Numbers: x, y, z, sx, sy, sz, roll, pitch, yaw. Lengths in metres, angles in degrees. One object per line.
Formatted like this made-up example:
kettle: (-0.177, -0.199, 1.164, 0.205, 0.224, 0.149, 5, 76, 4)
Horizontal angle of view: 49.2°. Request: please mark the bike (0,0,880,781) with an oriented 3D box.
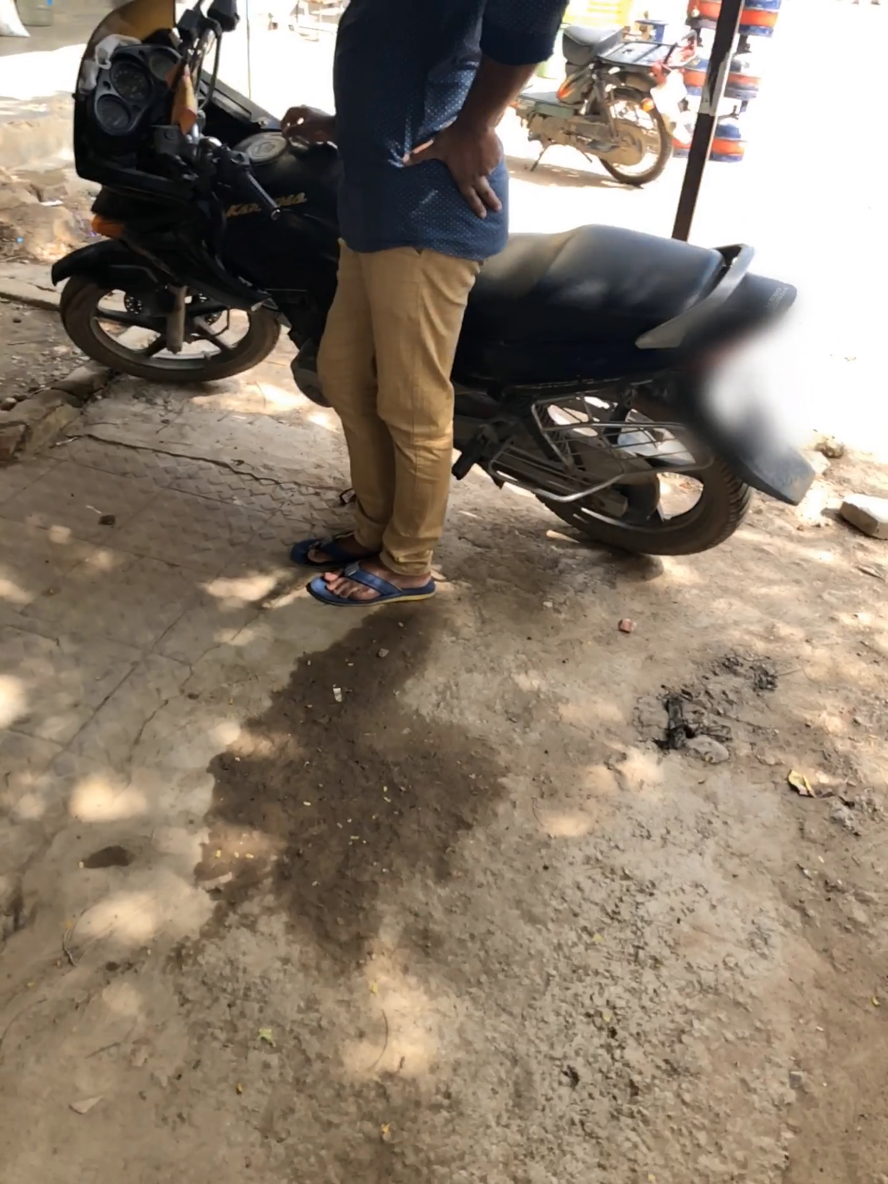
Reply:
bike: (-0.325, -0.629, 2.016, 1.890, 1.176, 0.802, 20, 38, 16)
